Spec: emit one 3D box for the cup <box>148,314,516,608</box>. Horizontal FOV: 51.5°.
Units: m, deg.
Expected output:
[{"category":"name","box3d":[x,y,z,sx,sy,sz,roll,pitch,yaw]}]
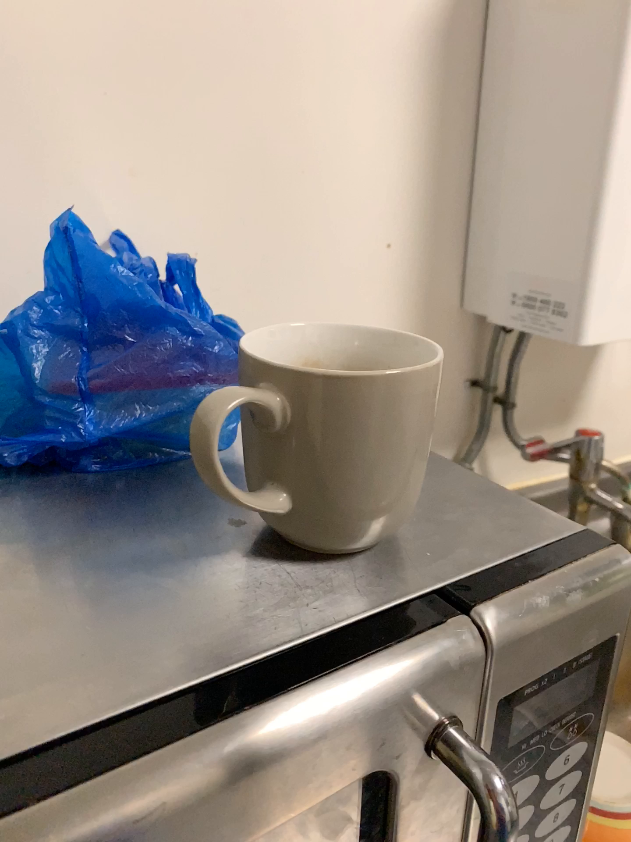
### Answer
[{"category":"cup","box3d":[0.005,0.005,0.296,0.129,0.077,0.094,-12,25,-32]}]
